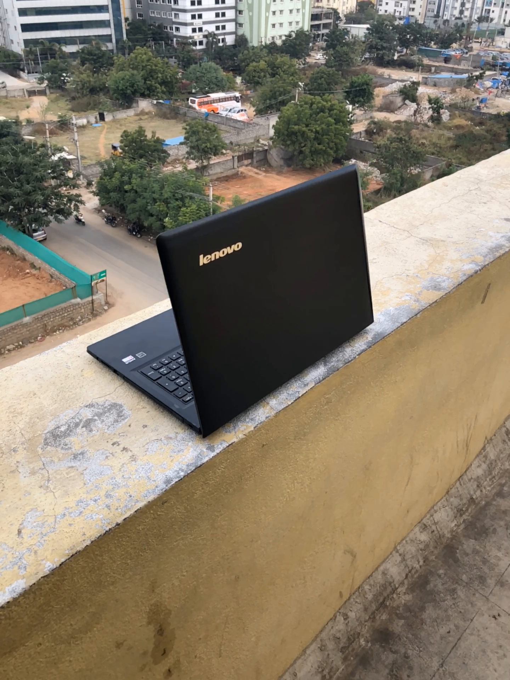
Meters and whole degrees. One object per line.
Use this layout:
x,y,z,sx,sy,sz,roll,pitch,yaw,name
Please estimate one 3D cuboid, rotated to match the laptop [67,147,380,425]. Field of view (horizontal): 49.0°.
-0.036,-0.104,0.798,0.245,0.223,0.335,28,43,35,laptop
